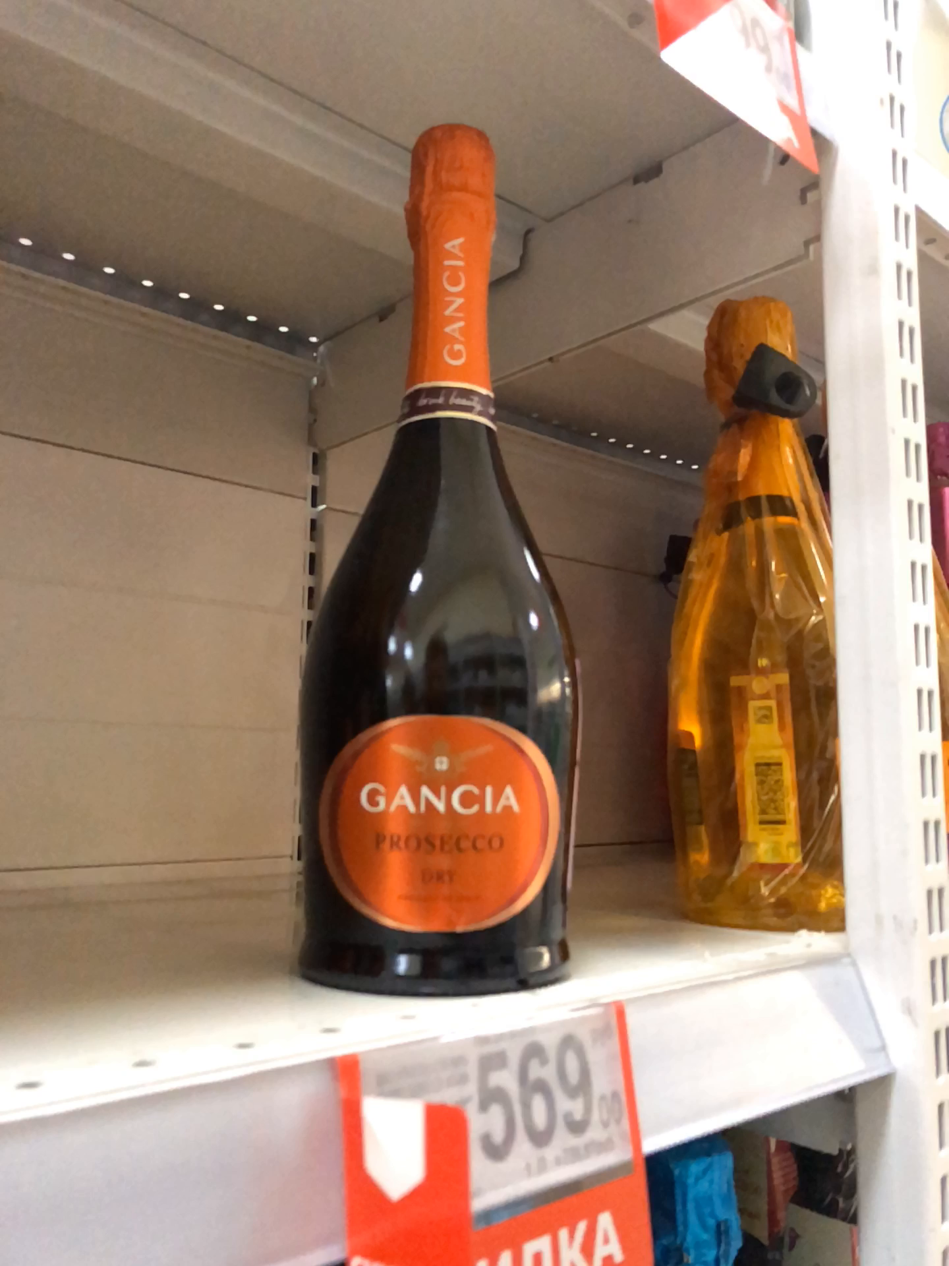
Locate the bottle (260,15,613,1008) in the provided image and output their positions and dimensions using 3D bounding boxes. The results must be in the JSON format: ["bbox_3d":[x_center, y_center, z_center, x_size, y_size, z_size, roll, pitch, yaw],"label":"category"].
[{"bbox_3d":[-0.012,-0.040,0.369,0.100,0.311,0.100,1,-9,0],"label":"bottle"}]
